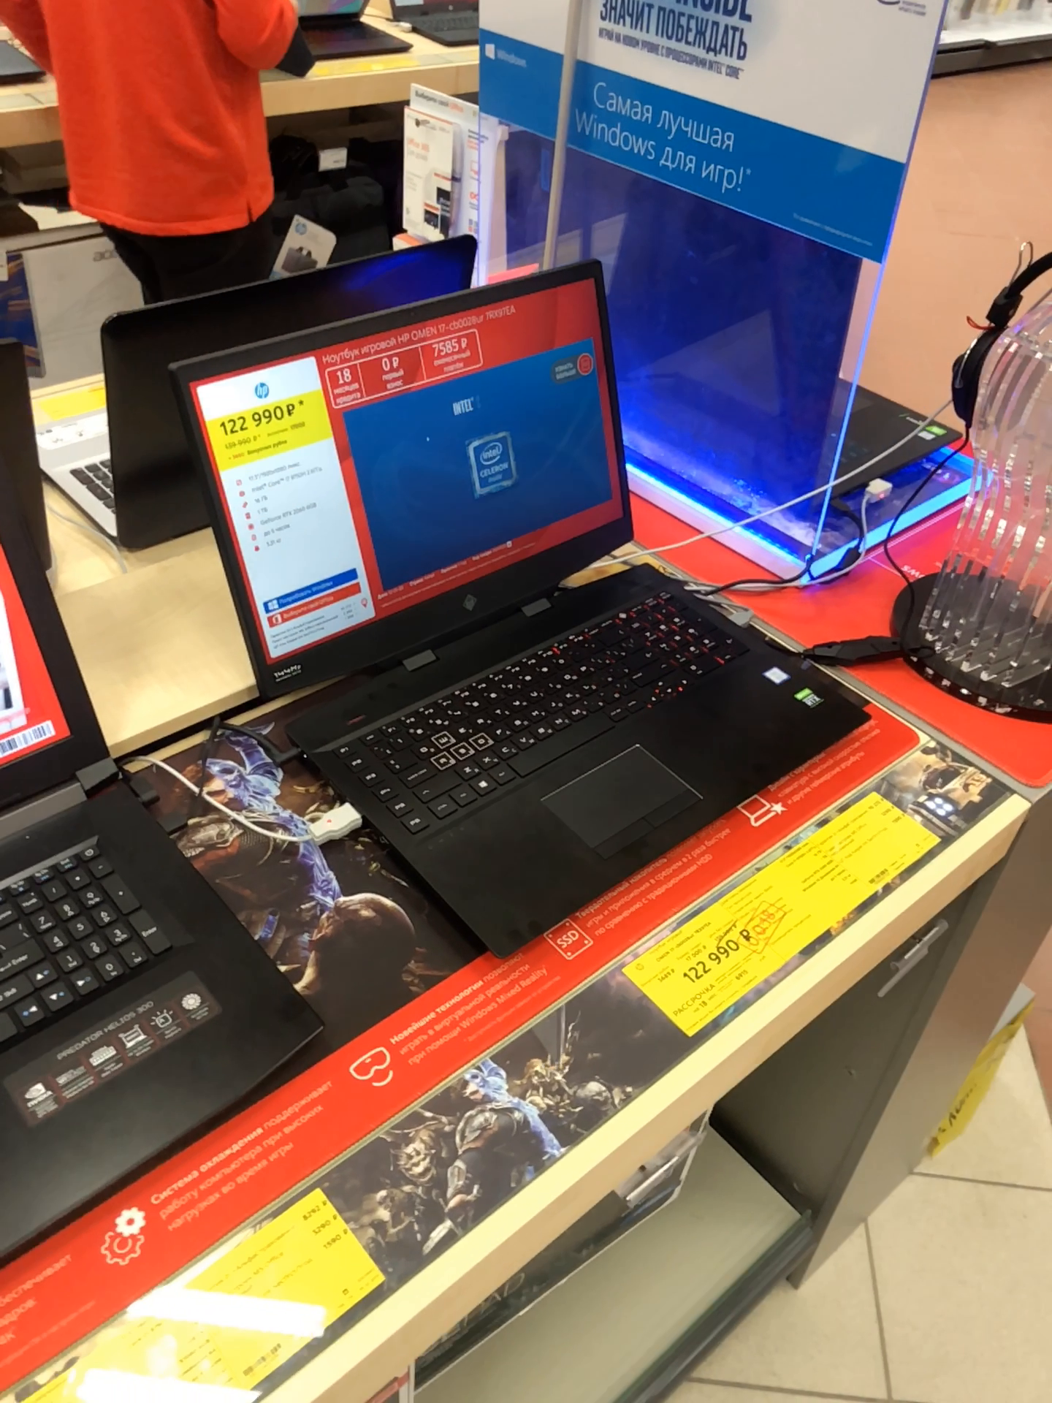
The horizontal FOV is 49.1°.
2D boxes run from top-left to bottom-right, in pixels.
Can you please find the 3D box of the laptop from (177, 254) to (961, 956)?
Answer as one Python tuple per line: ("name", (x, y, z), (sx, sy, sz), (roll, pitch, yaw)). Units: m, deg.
("laptop", (0.022, -0.111, 0.869), (0.392, 0.246, 0.376), (-27, 51, -31))
